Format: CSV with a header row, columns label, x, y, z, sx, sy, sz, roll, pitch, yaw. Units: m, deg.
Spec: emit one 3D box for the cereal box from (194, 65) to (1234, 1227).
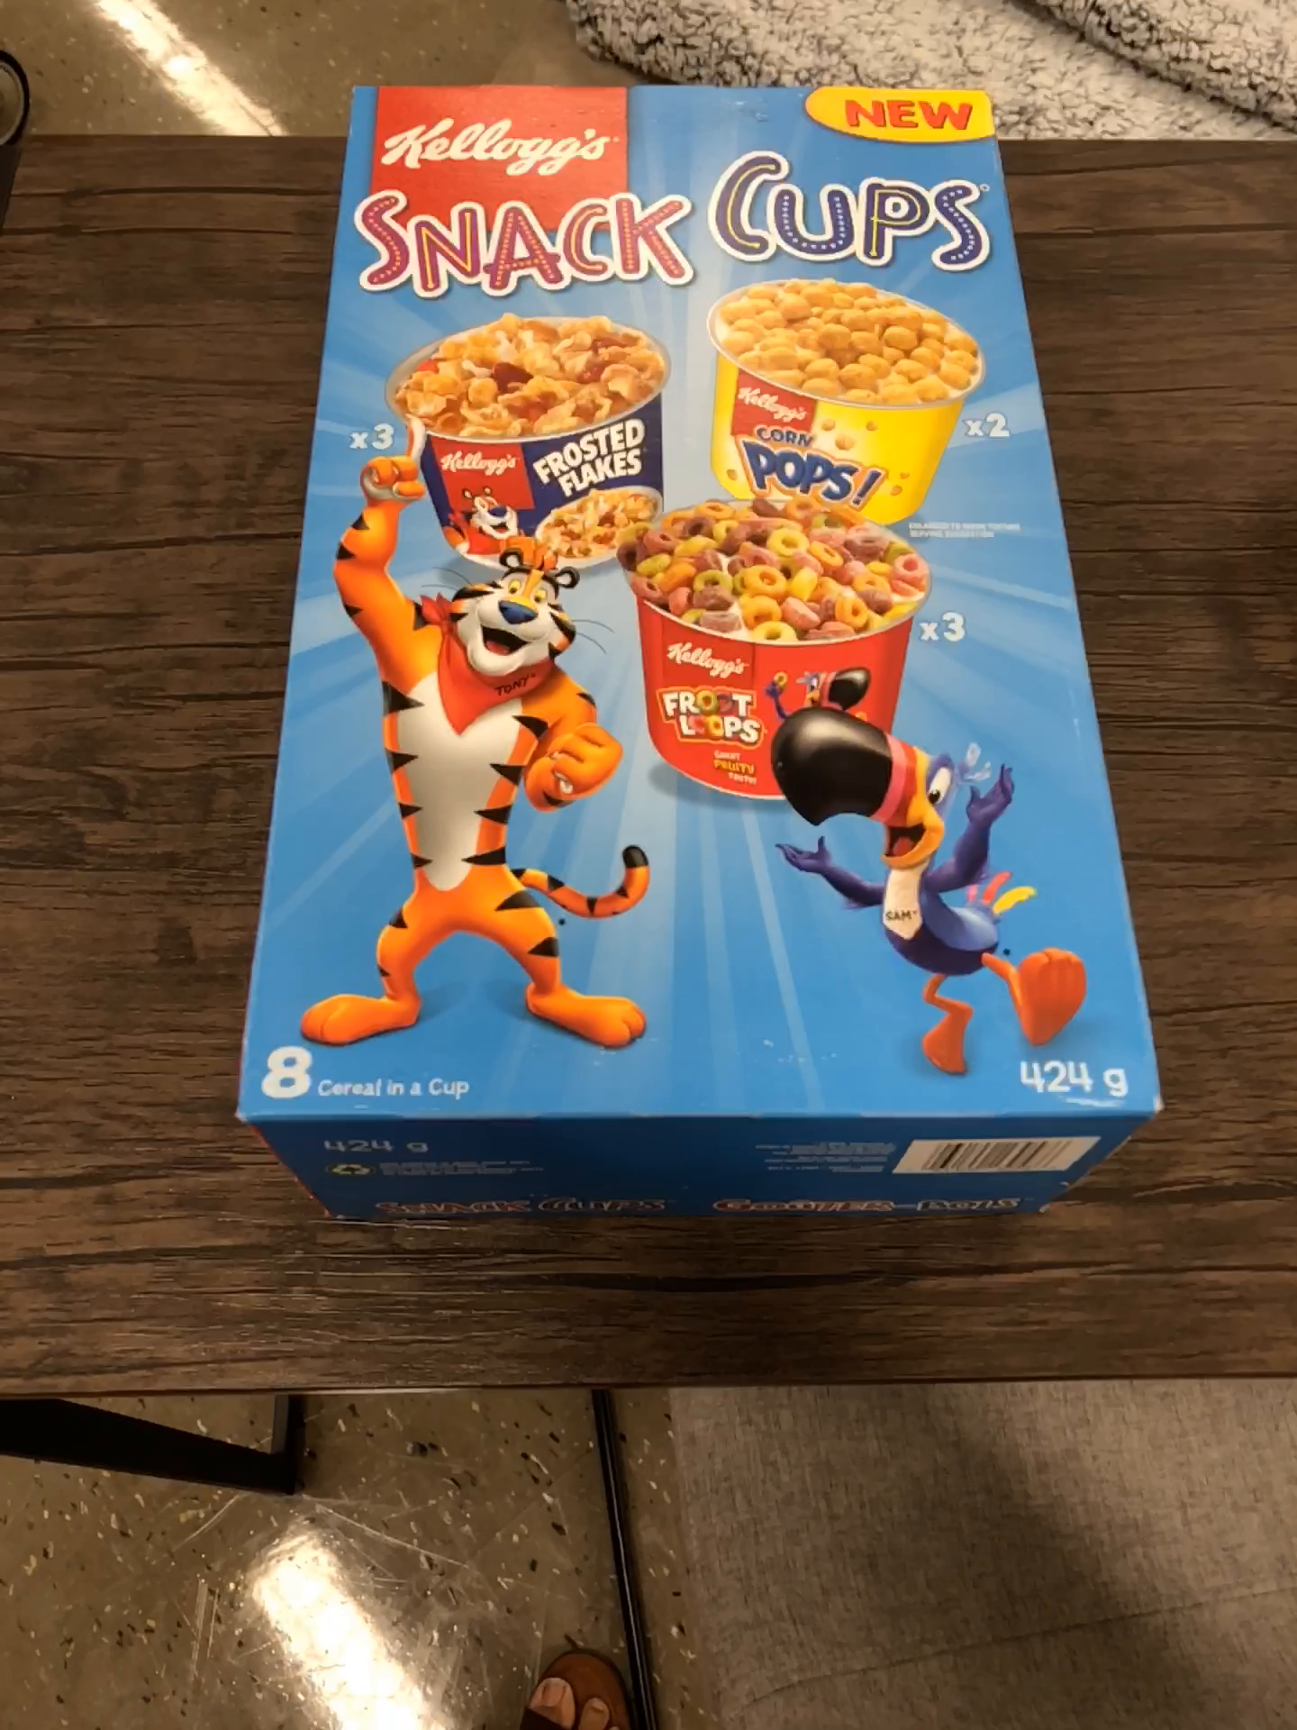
label,x,y,z,sx,sy,sz,roll,pitch,yaw
cereal box,0.012,-0.072,0.416,0.220,0.100,0.330,0,66,-1
